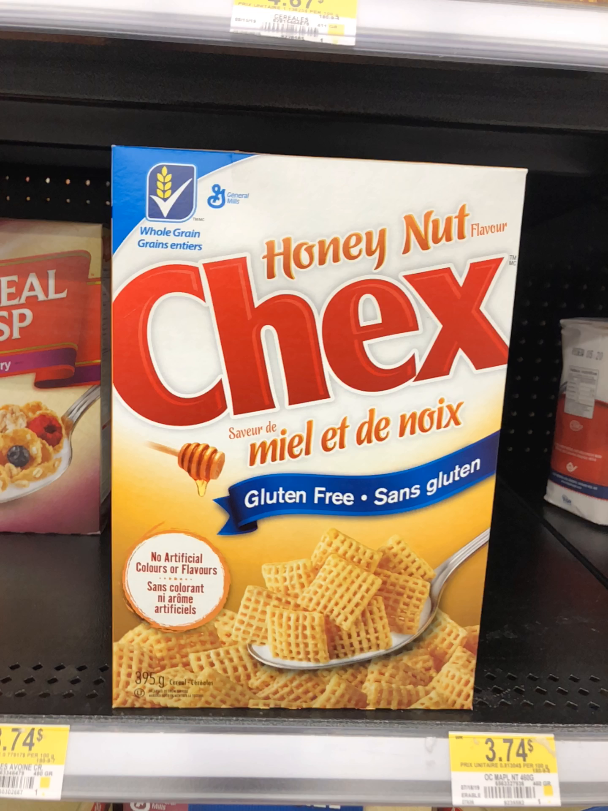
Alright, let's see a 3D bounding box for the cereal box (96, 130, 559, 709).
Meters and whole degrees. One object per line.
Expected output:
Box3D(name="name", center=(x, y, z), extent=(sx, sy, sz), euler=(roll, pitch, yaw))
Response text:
Box3D(name="cereal box", center=(0.004, 0.015, 0.352), extent=(0.210, 0.279, 0.050), euler=(2, 10, -4))
